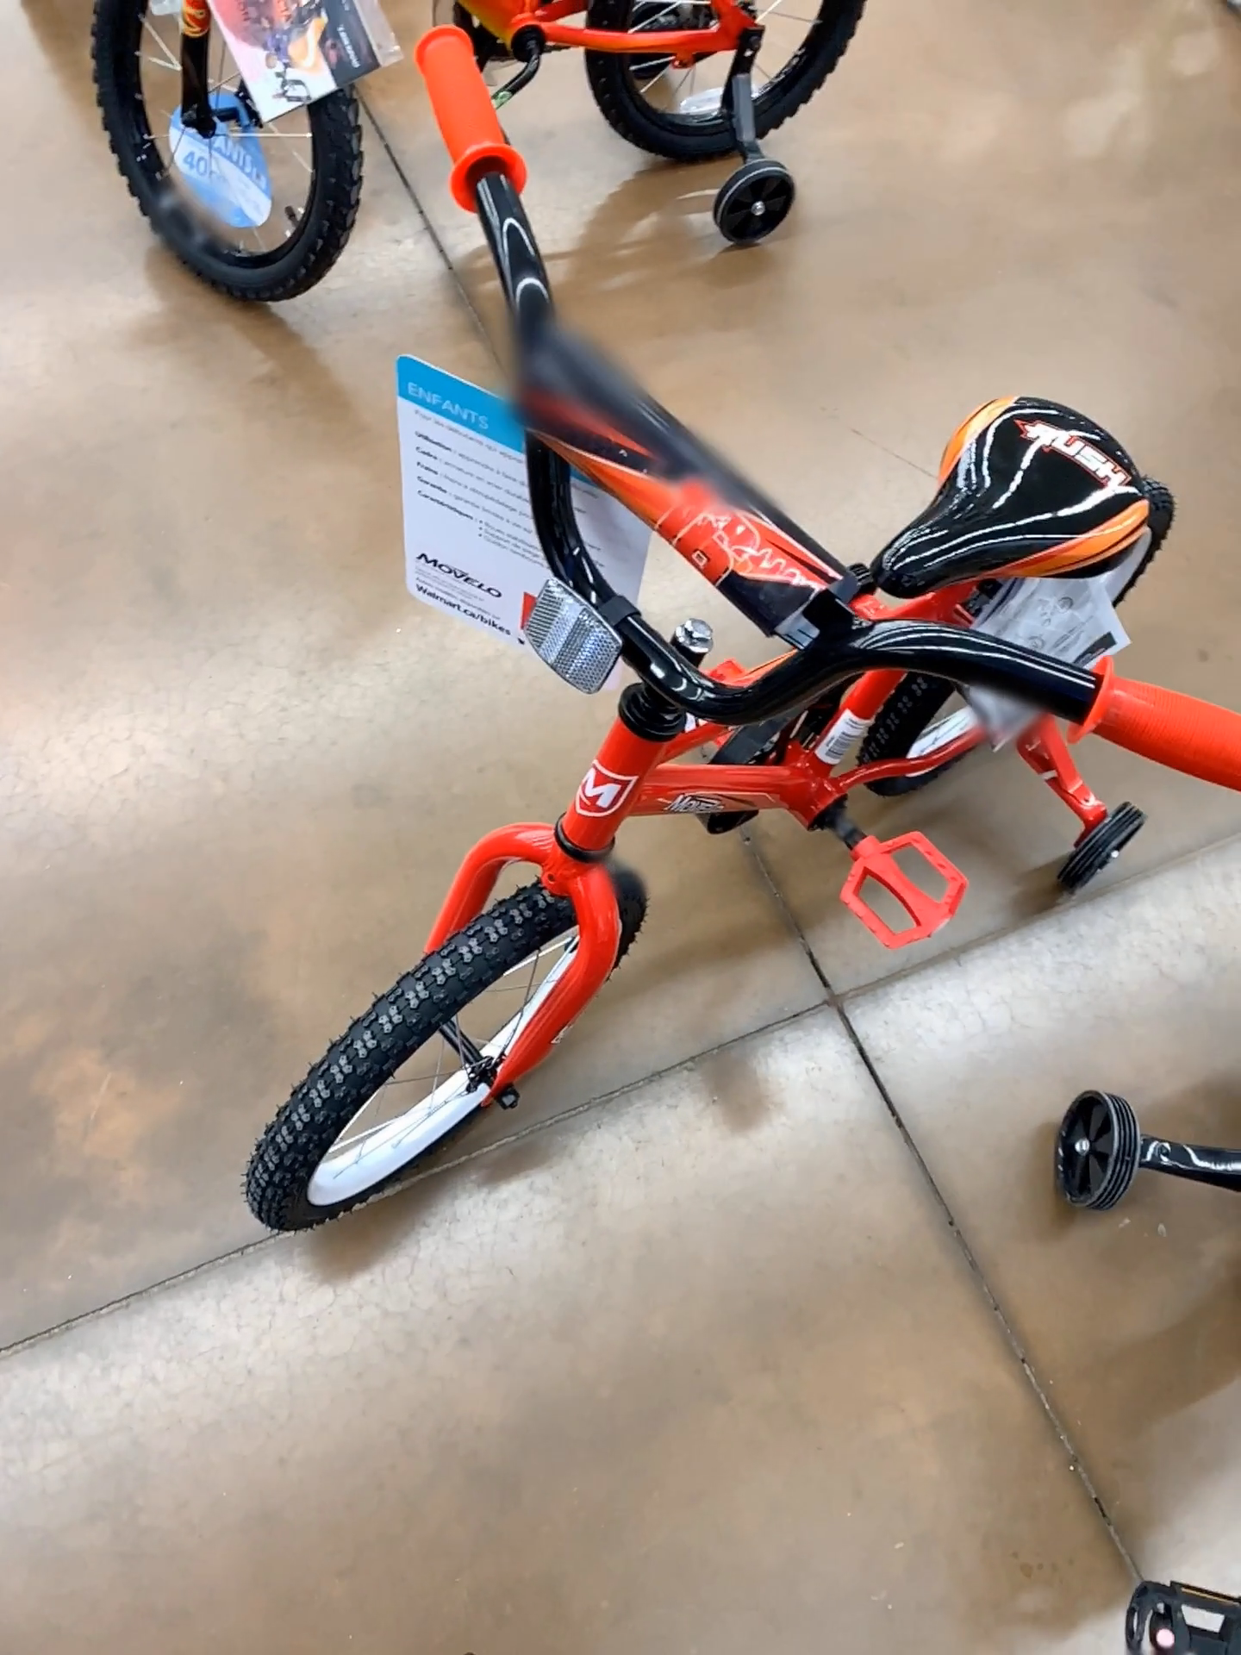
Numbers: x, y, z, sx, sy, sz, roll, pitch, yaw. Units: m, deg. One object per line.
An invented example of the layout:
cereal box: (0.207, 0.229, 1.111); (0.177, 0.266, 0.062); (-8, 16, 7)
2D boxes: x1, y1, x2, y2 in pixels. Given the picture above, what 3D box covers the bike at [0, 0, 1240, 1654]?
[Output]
bike: (0.191, -0.079, 0.987); (1.142, 0.956, 0.515); (-35, 72, -26)
